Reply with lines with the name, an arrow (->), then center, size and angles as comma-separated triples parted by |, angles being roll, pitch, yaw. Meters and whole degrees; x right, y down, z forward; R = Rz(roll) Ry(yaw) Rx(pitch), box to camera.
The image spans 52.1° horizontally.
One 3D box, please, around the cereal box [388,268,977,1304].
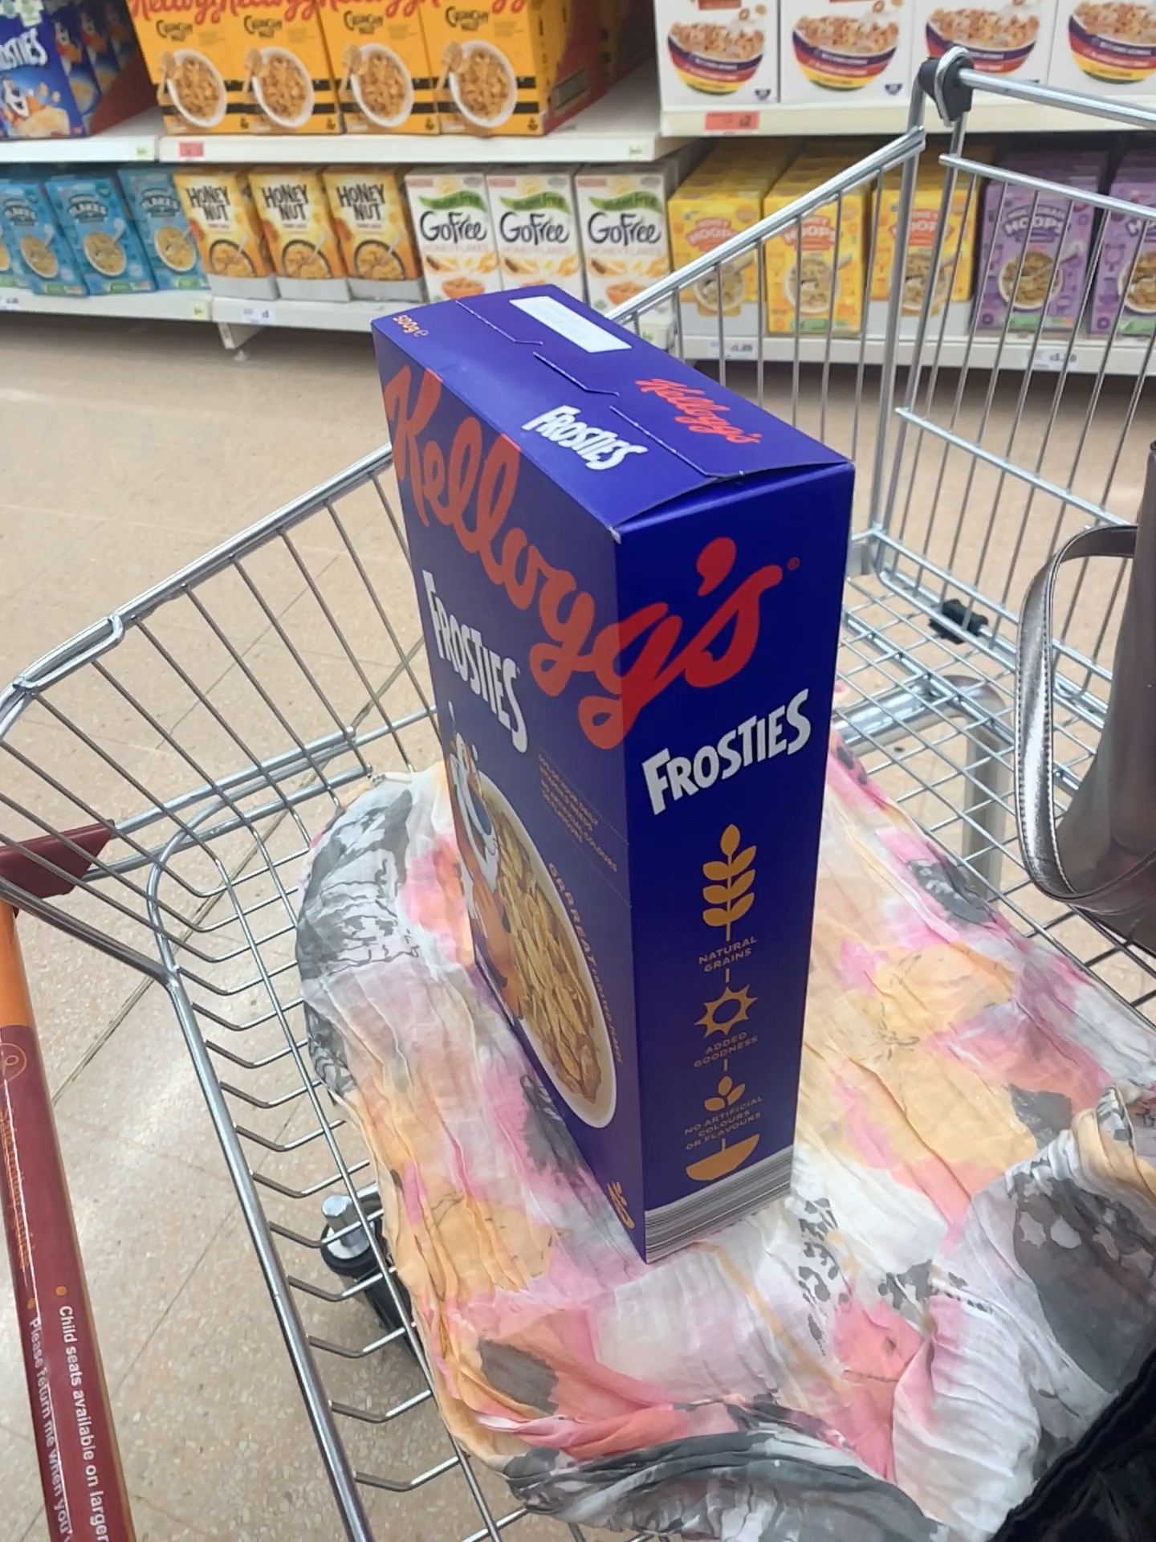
cereal box -> 0.020, 0.014, 0.461 | 0.080, 0.337, 0.212 | -18, 42, -20
